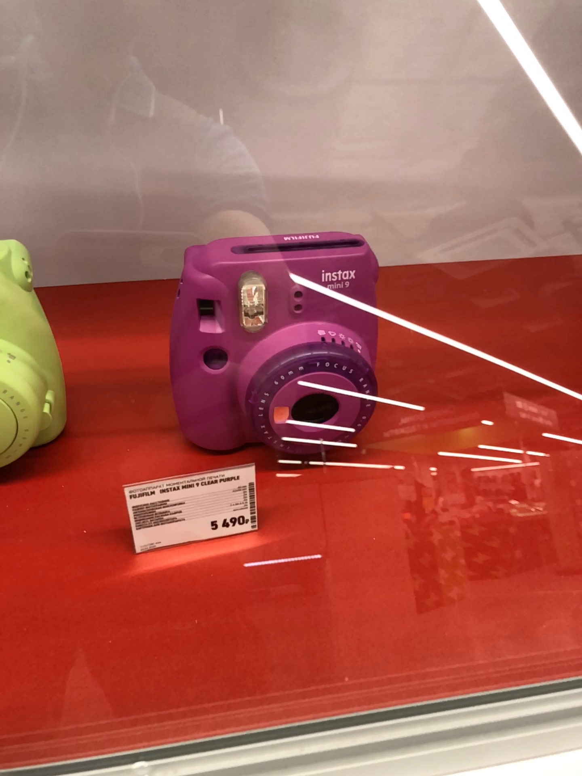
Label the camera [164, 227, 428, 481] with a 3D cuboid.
[{"bbox_3d":[-0.003,-0.019,0.340,0.117,0.103,0.073,-5,37,-8],"label":"camera"}]

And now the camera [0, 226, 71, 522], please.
[{"bbox_3d":[-0.196,-0.009,0.336,0.135,0.118,0.073,-8,38,-12],"label":"camera"}]
